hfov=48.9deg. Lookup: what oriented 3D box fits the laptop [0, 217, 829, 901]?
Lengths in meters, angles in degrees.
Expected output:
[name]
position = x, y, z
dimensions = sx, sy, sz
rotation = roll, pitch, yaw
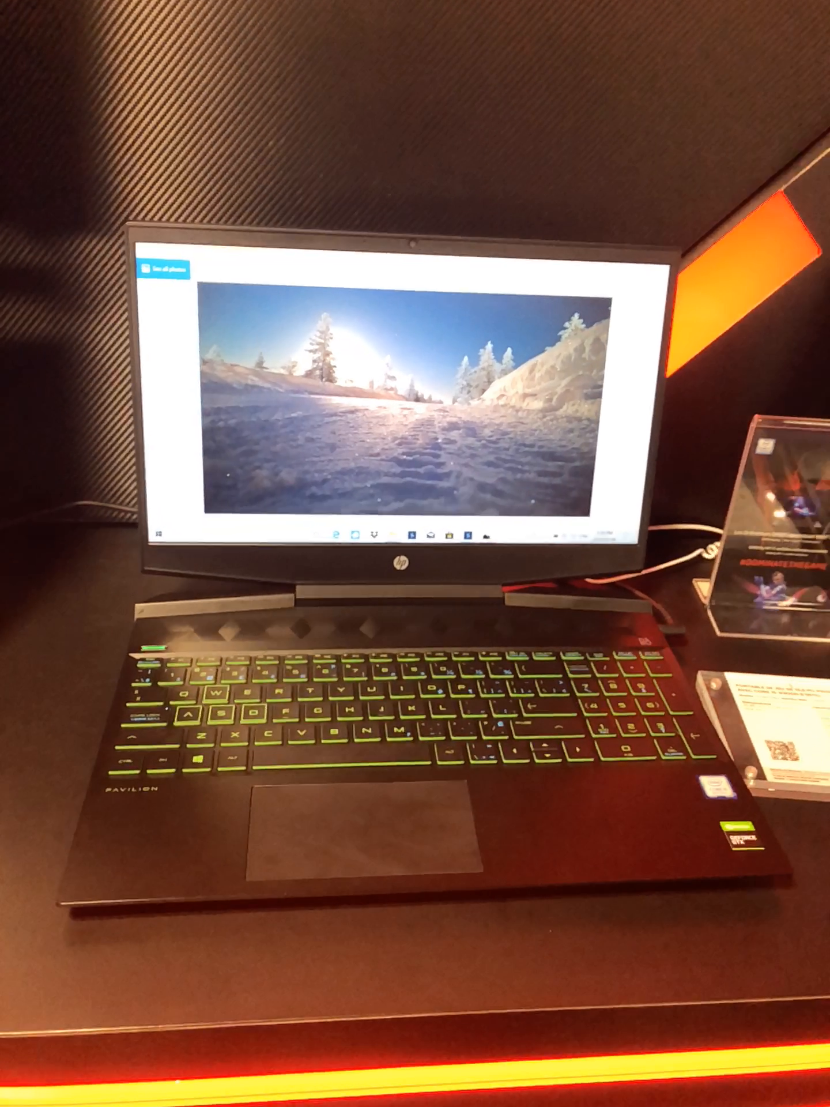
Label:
[laptop]
position = 0.006, -0.028, 0.520
dimensions = 0.355, 0.240, 0.316
rotation = 0, 29, -6
